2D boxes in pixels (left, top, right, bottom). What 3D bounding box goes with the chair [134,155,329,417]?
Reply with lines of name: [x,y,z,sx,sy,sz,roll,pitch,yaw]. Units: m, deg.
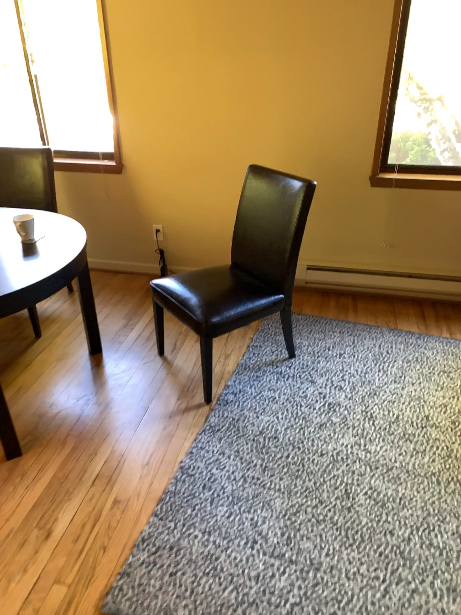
chair: [0.004,-0.141,2.347,0.671,1.034,0.563,-20,35,-31]
